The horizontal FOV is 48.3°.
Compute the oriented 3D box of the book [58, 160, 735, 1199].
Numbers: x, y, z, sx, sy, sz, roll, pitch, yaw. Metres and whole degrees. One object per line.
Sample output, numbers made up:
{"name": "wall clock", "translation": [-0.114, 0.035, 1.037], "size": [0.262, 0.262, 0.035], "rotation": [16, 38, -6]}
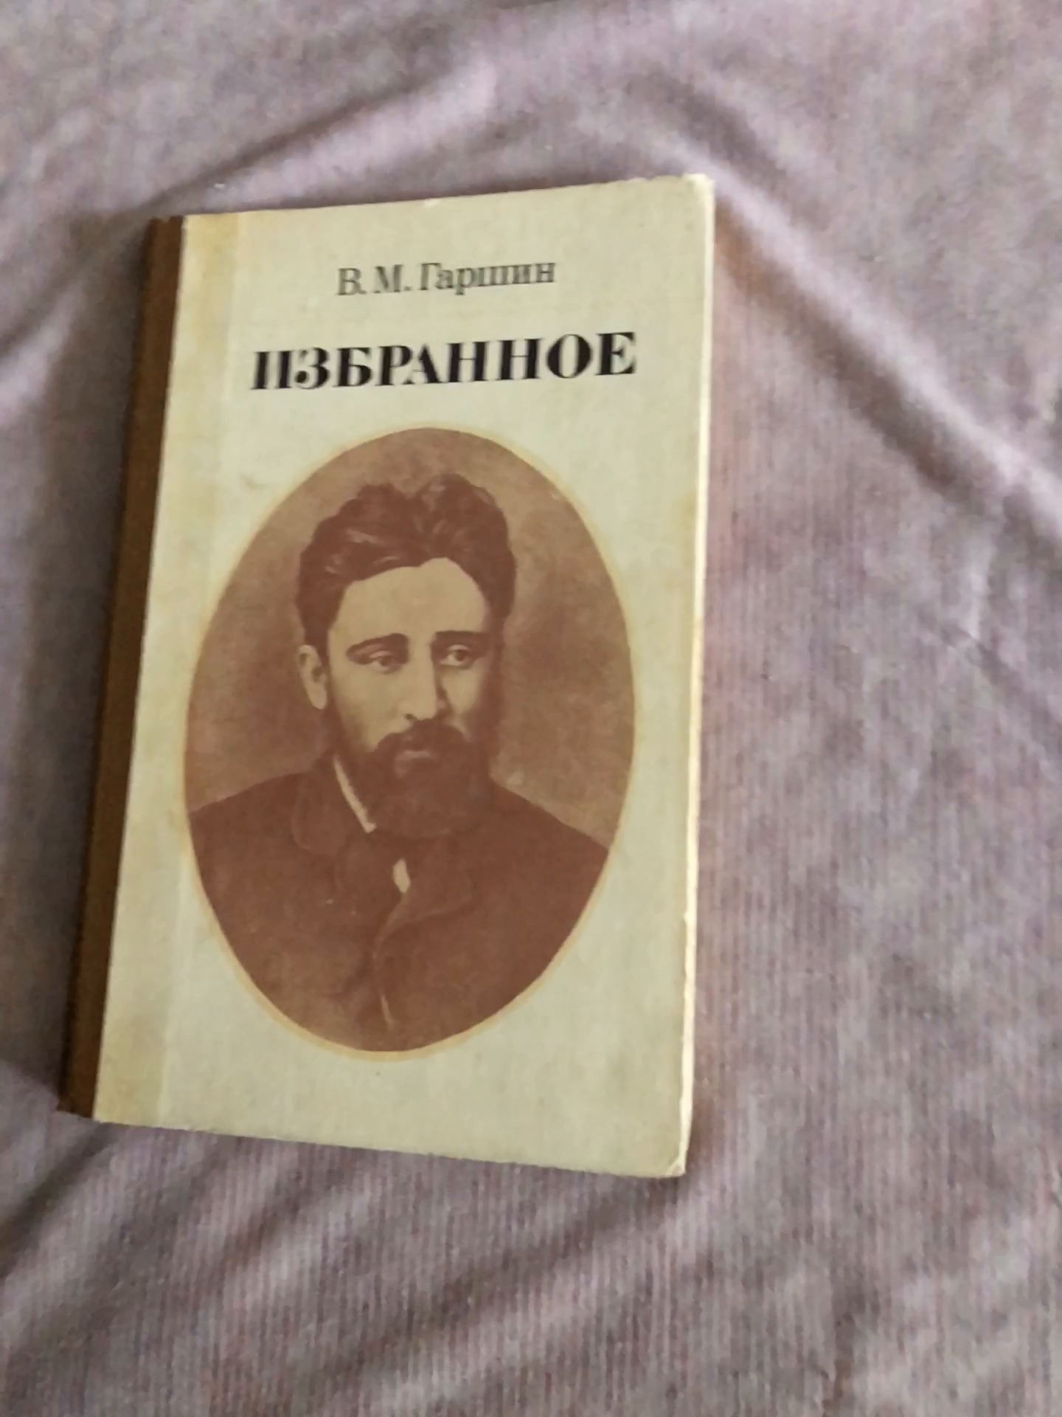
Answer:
{"name": "book", "translation": [-0.027, -0.012, 0.277], "size": [0.142, 0.030, 0.220], "rotation": [1, 81, 13]}
